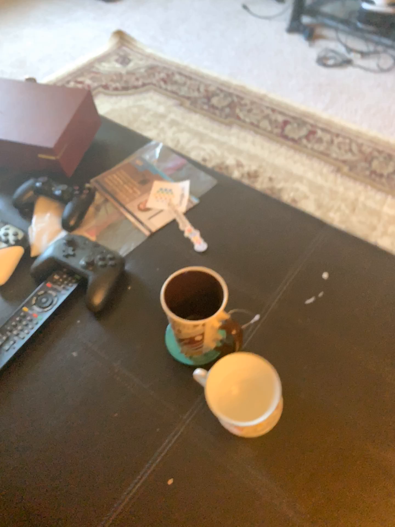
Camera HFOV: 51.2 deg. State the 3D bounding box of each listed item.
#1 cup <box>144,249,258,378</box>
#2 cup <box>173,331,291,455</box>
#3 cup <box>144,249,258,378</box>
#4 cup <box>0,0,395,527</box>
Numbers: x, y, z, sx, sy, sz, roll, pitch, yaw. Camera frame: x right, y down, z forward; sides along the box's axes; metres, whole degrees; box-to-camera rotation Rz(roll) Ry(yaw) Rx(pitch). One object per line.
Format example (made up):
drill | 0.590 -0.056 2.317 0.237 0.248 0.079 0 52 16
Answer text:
cup | 0.004 0.068 0.560 0.120 0.110 0.080 34 60 24
cup | 0.042 0.158 0.510 0.110 0.070 0.090 23 57 17
cup | 0.004 0.068 0.560 0.120 0.110 0.080 34 60 24
cup | 0.004 0.068 0.560 39.350 9.459 0.297 34 60 24
